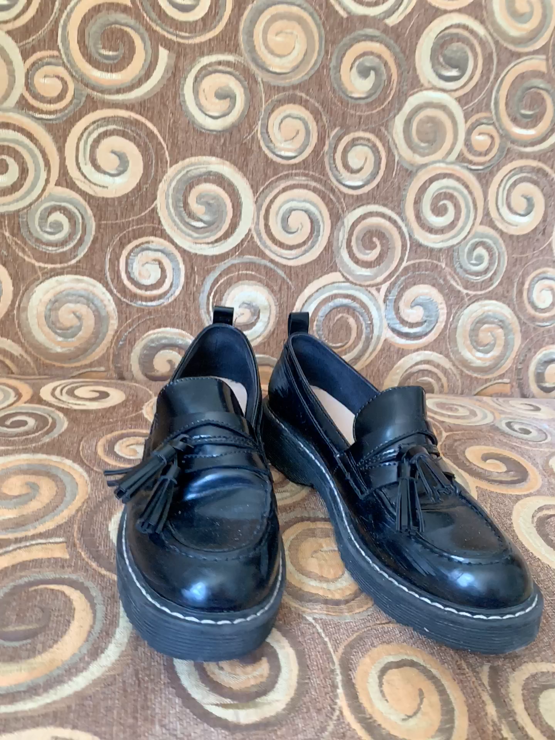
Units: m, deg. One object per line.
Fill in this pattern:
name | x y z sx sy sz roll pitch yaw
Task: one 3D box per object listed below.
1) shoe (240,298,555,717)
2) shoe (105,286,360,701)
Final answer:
shoe | 0.072 0.049 0.343 0.090 0.099 0.241 -6 30 -27
shoe | -0.030 0.043 0.332 0.090 0.099 0.241 5 27 -7
